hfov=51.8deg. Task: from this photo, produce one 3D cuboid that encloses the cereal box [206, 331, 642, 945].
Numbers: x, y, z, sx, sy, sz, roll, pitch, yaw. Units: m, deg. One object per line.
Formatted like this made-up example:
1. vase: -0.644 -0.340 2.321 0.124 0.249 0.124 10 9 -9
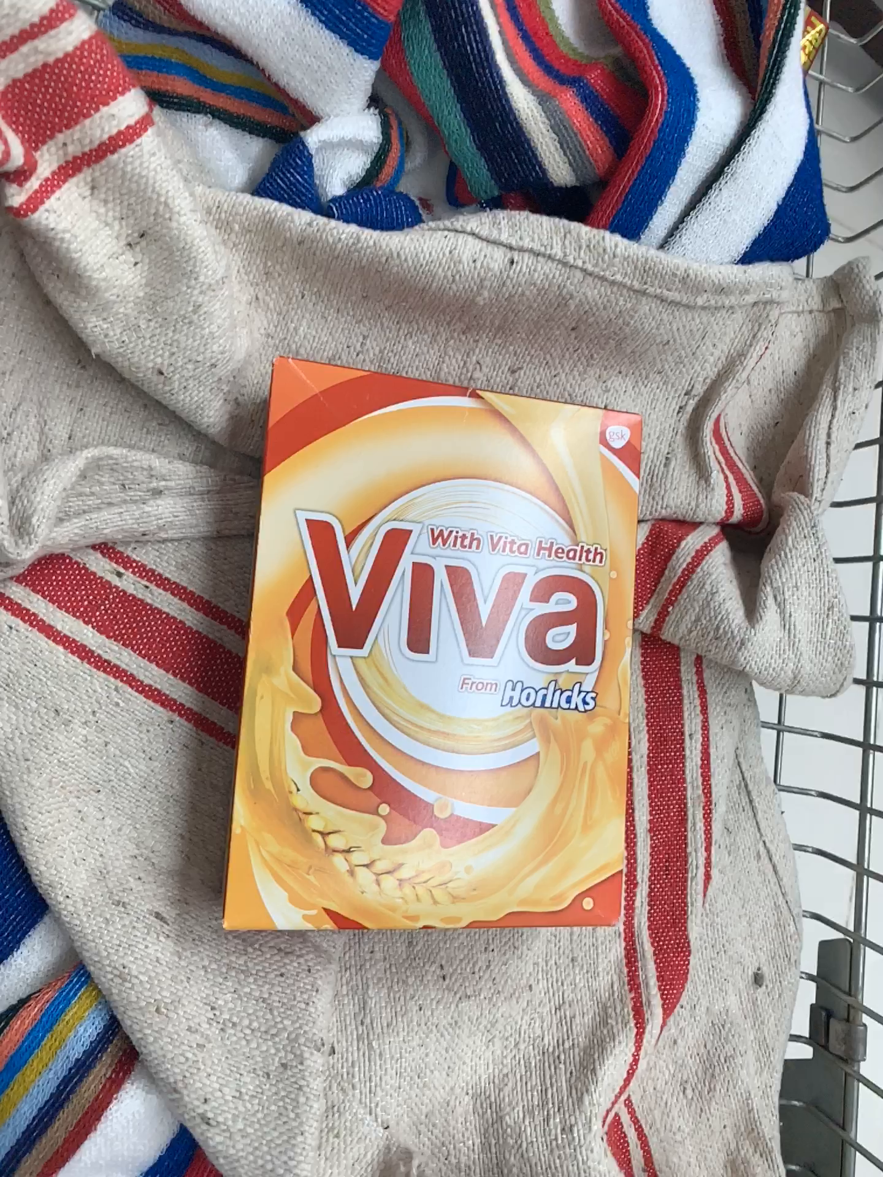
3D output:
1. cereal box: -0.007 0.022 0.351 0.140 0.070 0.200 6 84 -19
